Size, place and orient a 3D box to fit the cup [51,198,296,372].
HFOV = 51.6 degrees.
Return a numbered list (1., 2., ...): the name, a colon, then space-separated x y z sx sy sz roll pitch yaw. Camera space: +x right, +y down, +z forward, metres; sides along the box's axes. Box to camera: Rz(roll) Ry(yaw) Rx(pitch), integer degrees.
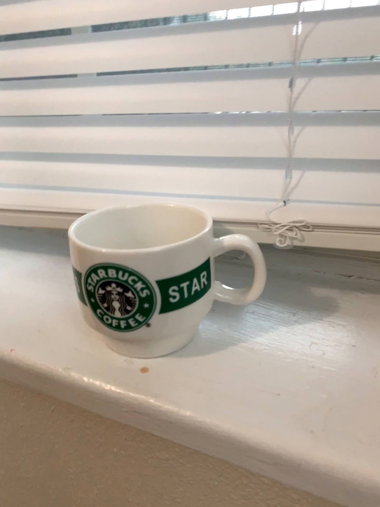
1. cup: -0.004 0.011 0.202 0.100 0.060 0.070 1 24 6
